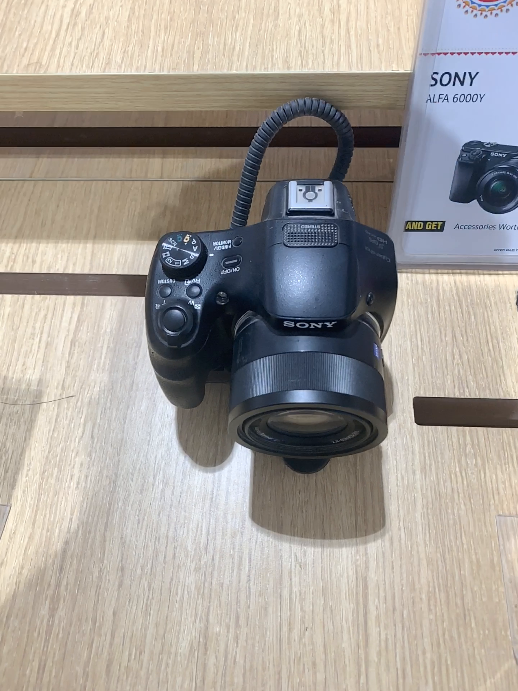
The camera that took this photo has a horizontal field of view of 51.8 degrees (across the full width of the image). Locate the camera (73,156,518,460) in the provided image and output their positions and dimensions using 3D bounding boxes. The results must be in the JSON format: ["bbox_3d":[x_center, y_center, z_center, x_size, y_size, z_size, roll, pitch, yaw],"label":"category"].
[{"bbox_3d":[0.014,-0.009,0.230,0.140,0.100,0.090,0,62,2],"label":"camera"}]
